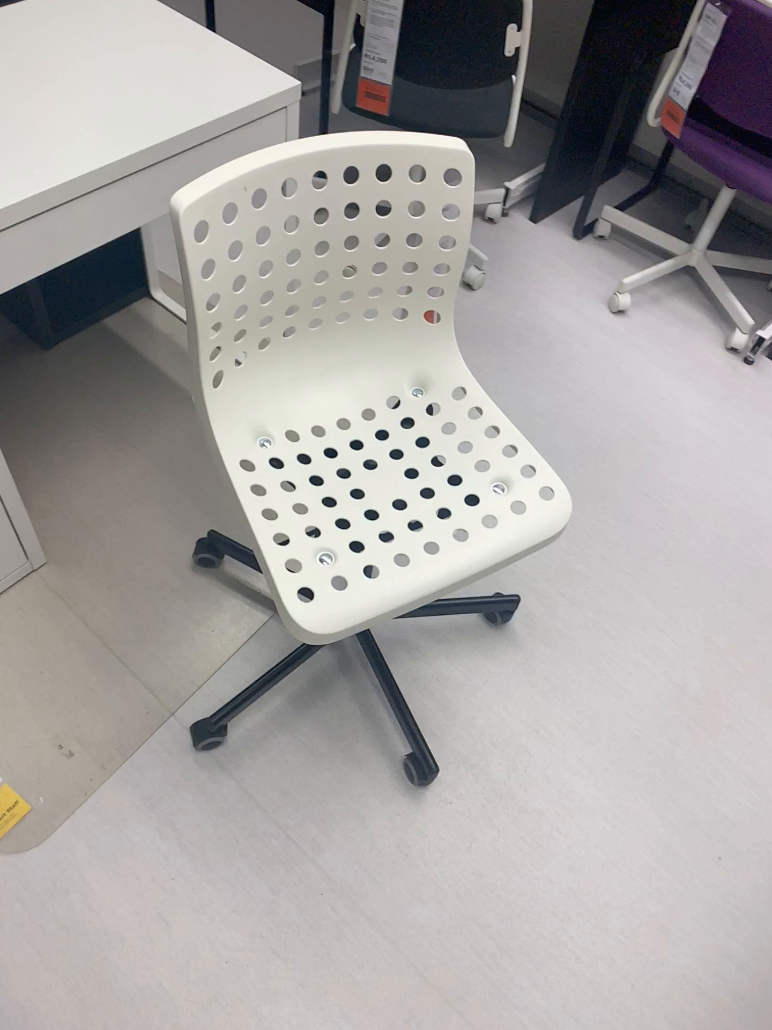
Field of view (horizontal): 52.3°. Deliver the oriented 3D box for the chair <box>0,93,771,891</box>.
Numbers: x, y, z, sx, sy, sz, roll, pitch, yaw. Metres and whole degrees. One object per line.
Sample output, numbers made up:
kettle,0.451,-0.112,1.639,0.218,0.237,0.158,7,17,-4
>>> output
chair,-0.031,-0.019,1.183,0.681,0.788,0.671,-24,61,-23
